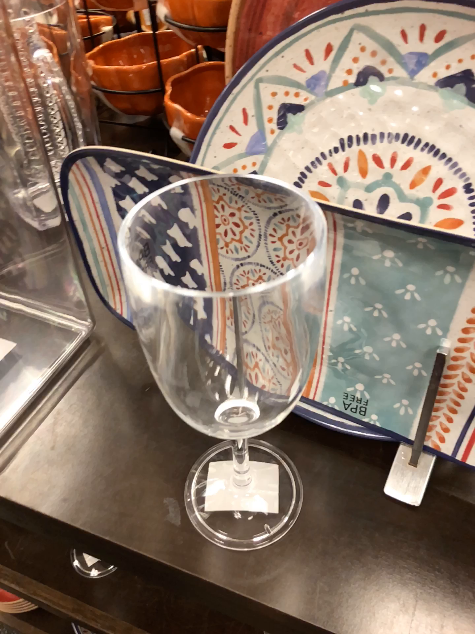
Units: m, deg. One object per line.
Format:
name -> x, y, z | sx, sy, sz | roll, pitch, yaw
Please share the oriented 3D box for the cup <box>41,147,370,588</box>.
cup -> -0.003, 0.036, 0.257 | 0.090, 0.200, 0.085 | -2, 44, 2
